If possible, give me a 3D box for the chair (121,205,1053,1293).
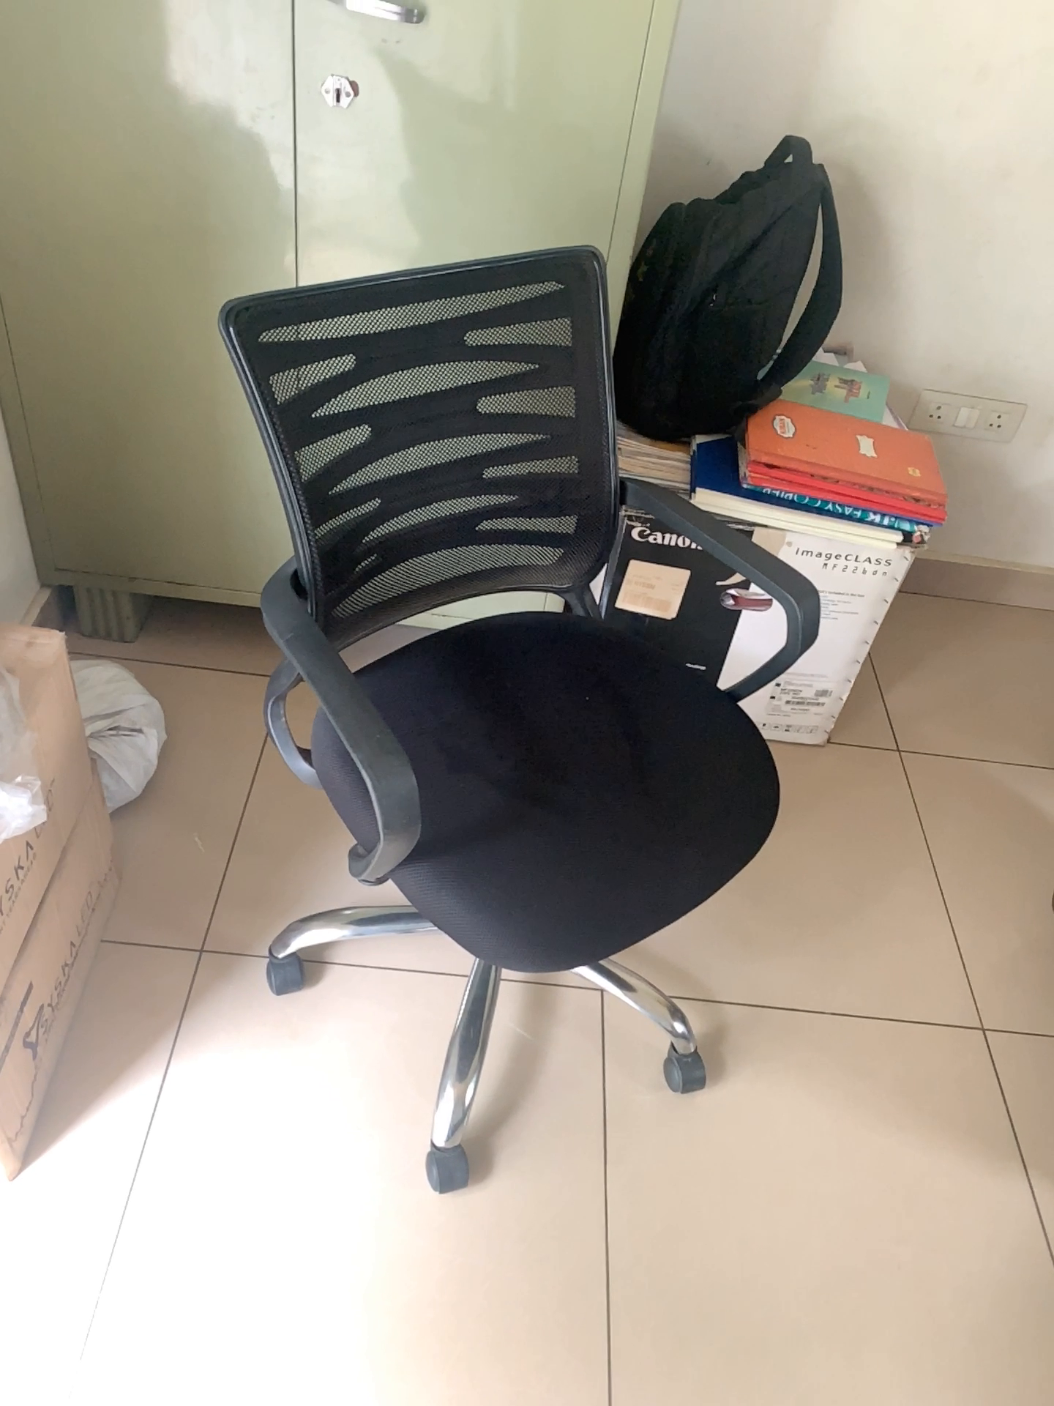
[{"bbox_3d":[0.029,0.051,1.332,0.681,0.996,0.651,-25,53,-33],"label":"chair"}]
